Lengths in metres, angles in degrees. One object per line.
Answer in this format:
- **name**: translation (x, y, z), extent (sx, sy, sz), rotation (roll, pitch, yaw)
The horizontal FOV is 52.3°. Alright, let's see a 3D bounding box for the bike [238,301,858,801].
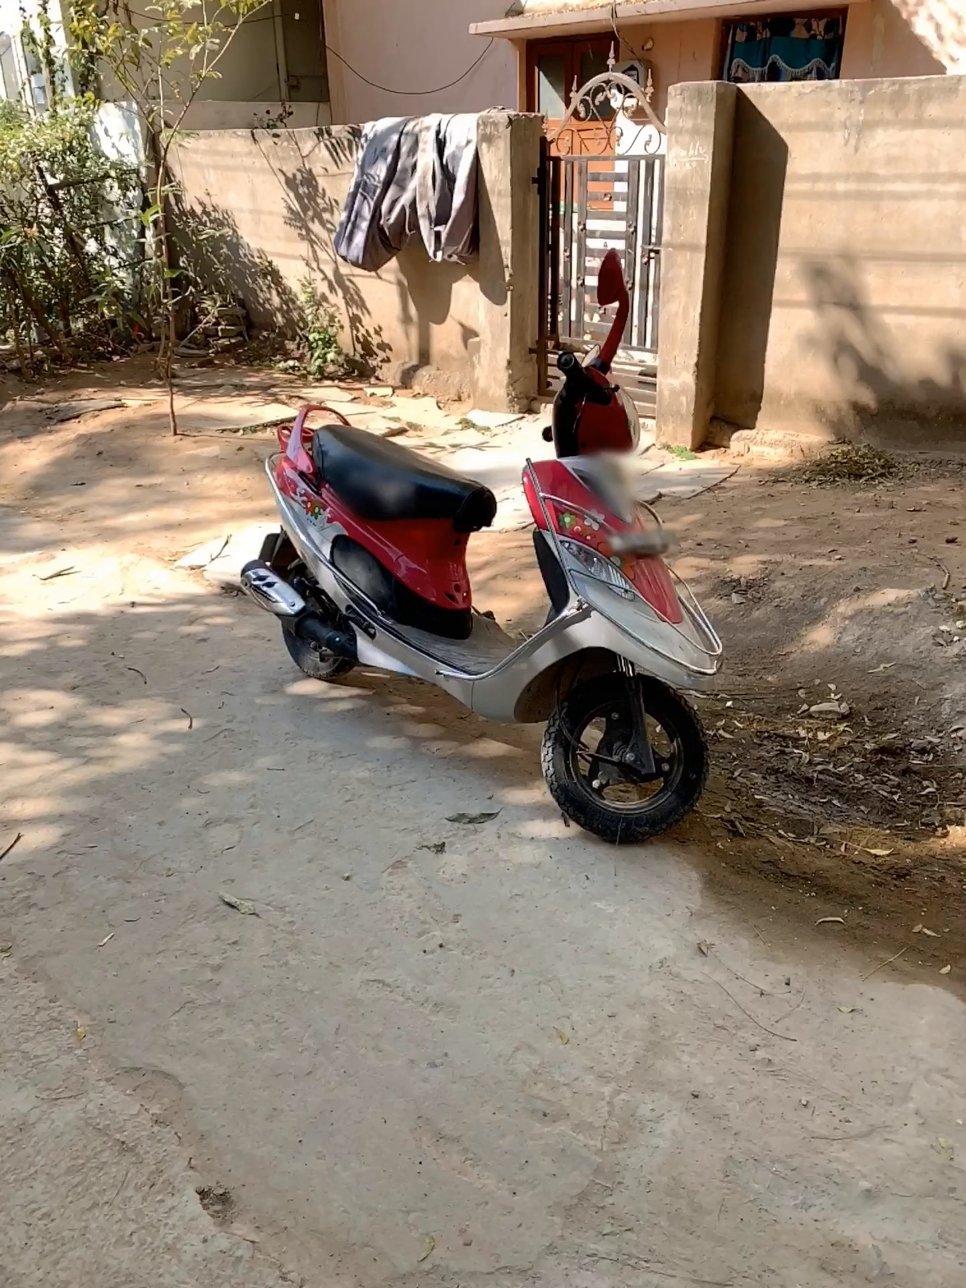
- **bike**: translation (0.082, -0.347, 2.686), extent (1.497, 1.037, 0.485), rotation (18, 32, 36)
